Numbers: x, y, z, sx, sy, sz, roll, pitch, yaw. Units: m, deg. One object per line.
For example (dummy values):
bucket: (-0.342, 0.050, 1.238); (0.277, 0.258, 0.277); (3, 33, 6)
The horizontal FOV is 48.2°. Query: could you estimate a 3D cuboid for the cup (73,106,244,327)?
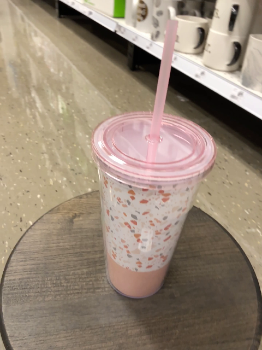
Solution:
cup: (0.015, 0.034, 0.262); (0.090, 0.149, 0.090); (3, 37, -3)
